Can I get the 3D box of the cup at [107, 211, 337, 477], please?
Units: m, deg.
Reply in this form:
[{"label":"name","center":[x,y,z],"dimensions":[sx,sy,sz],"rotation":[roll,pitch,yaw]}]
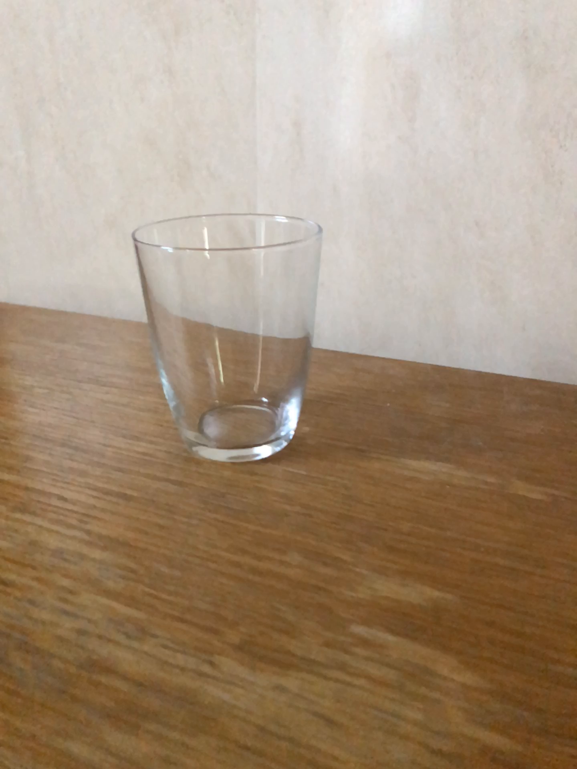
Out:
[{"label":"cup","center":[-0.019,-0.019,0.243],"dimensions":[0.070,0.080,0.070],"rotation":[1,23,0]}]
